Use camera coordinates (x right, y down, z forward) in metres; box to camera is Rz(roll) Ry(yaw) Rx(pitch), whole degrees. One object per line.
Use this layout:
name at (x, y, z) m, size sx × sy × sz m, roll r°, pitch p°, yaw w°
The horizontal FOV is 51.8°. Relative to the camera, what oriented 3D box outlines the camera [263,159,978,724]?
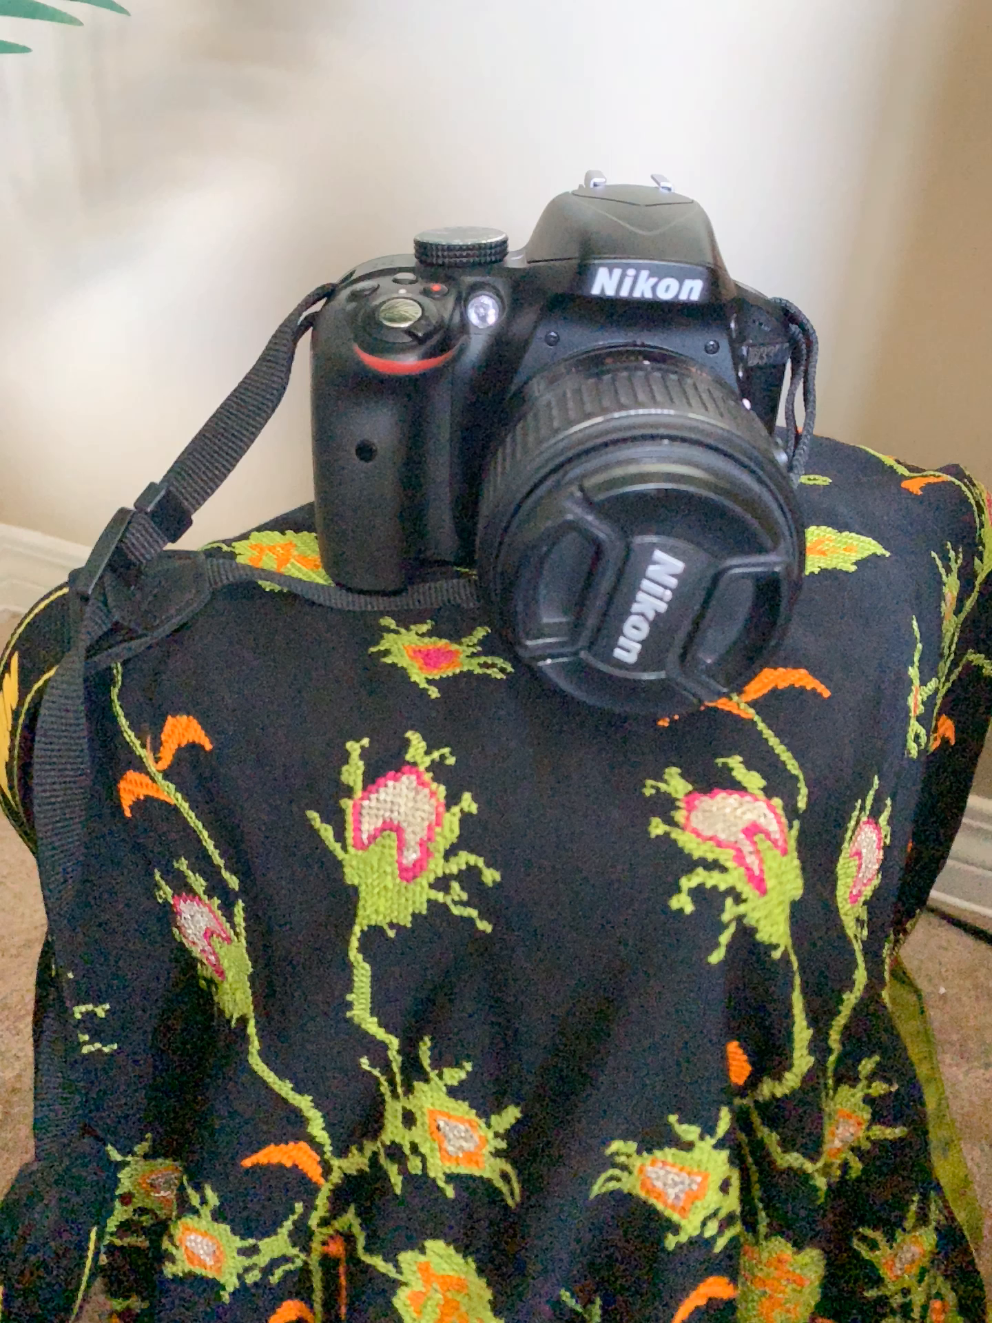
camera at (0.018, -0.053, 0.234) m, size 0.120 × 0.099 × 0.091 m, roll 1°, pitch 31°, yaw -3°
